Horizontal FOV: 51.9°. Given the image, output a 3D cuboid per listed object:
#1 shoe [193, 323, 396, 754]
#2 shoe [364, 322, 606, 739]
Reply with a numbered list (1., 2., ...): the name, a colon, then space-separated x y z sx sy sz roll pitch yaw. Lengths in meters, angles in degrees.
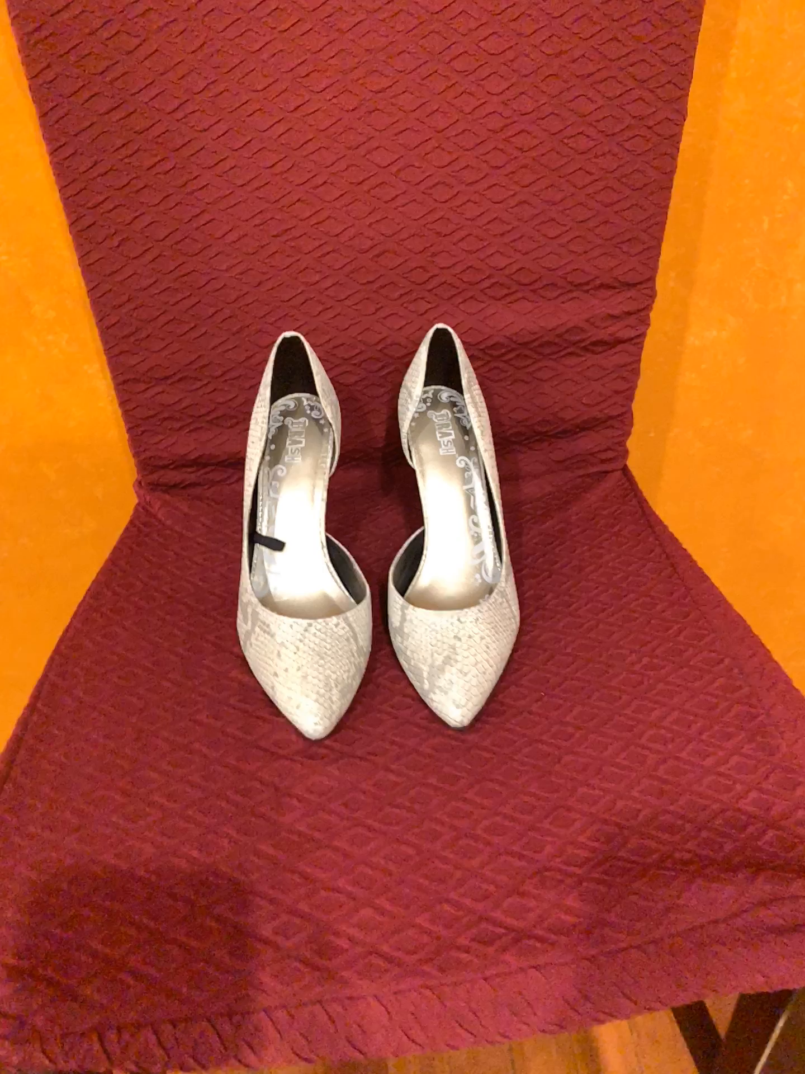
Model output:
1. shoe: -0.065 -0.015 0.504 0.090 0.119 0.253 -4 41 -6
2. shoe: 0.033 -0.019 0.515 0.090 0.120 0.250 -4 41 -6
